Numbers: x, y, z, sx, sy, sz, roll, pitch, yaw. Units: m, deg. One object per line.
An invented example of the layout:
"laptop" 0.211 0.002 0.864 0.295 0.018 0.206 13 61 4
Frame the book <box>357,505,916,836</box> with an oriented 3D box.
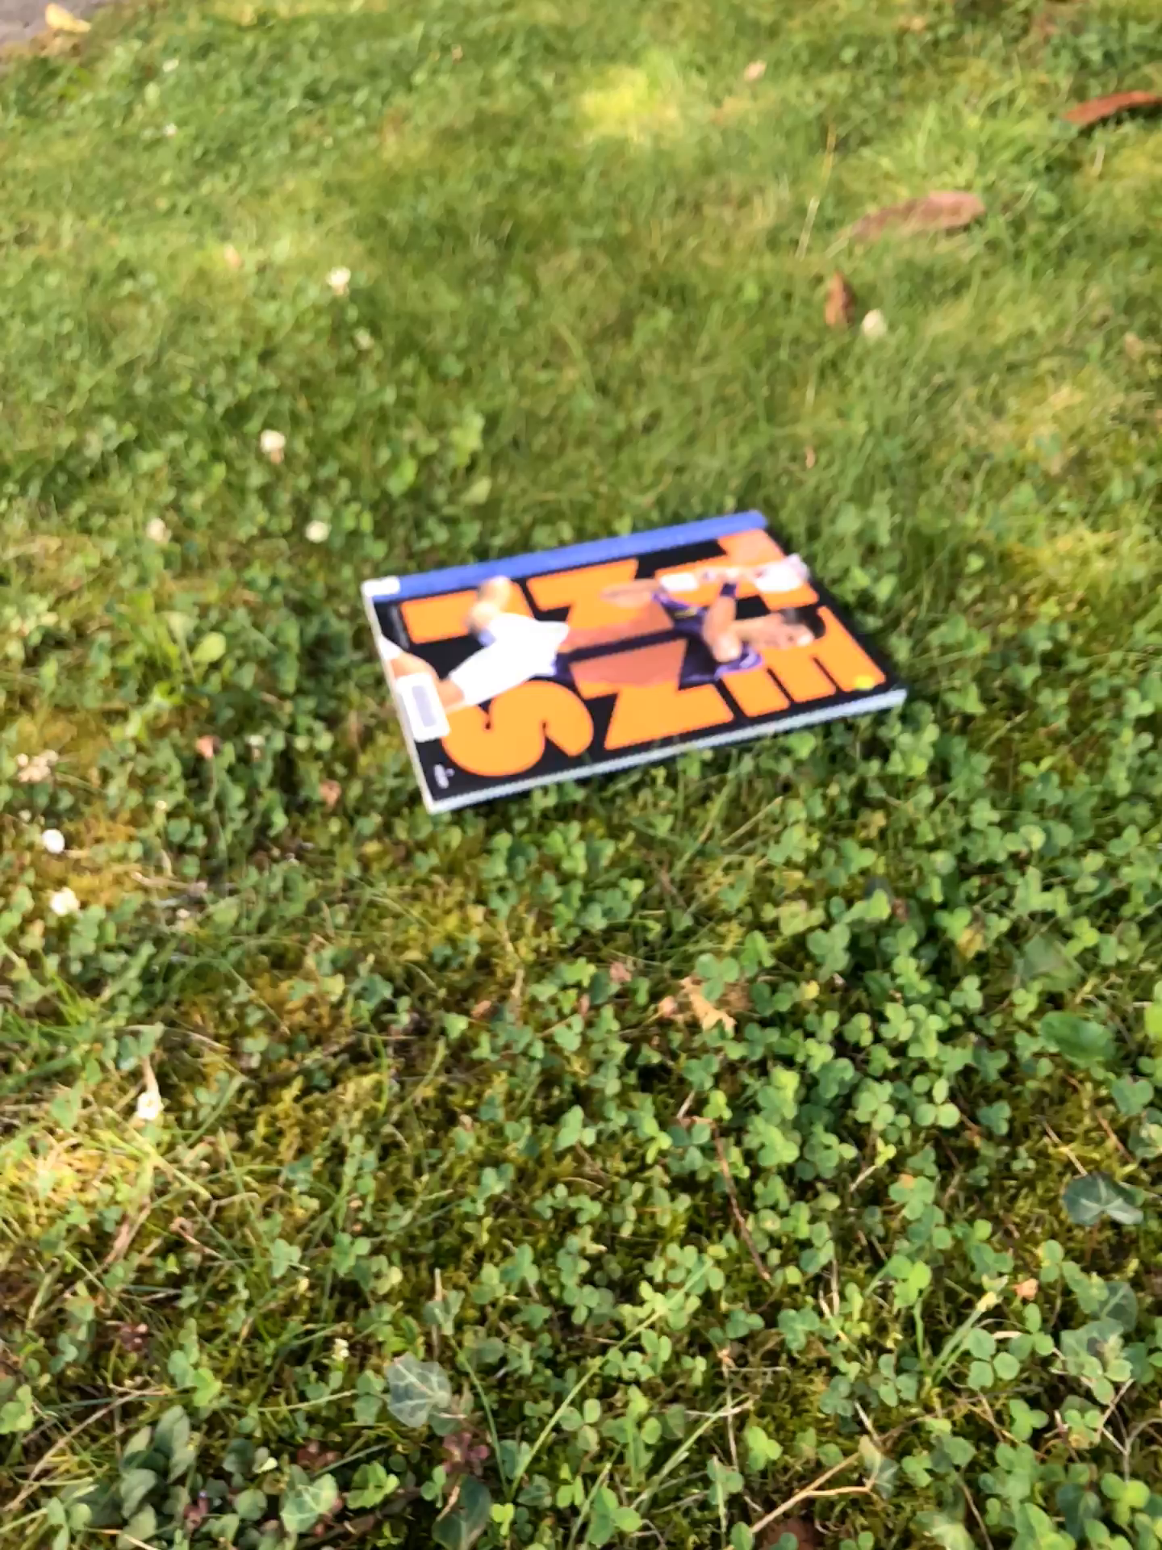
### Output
"book" 0.019 -0.066 0.677 0.240 0.016 0.199 -12 42 -11
